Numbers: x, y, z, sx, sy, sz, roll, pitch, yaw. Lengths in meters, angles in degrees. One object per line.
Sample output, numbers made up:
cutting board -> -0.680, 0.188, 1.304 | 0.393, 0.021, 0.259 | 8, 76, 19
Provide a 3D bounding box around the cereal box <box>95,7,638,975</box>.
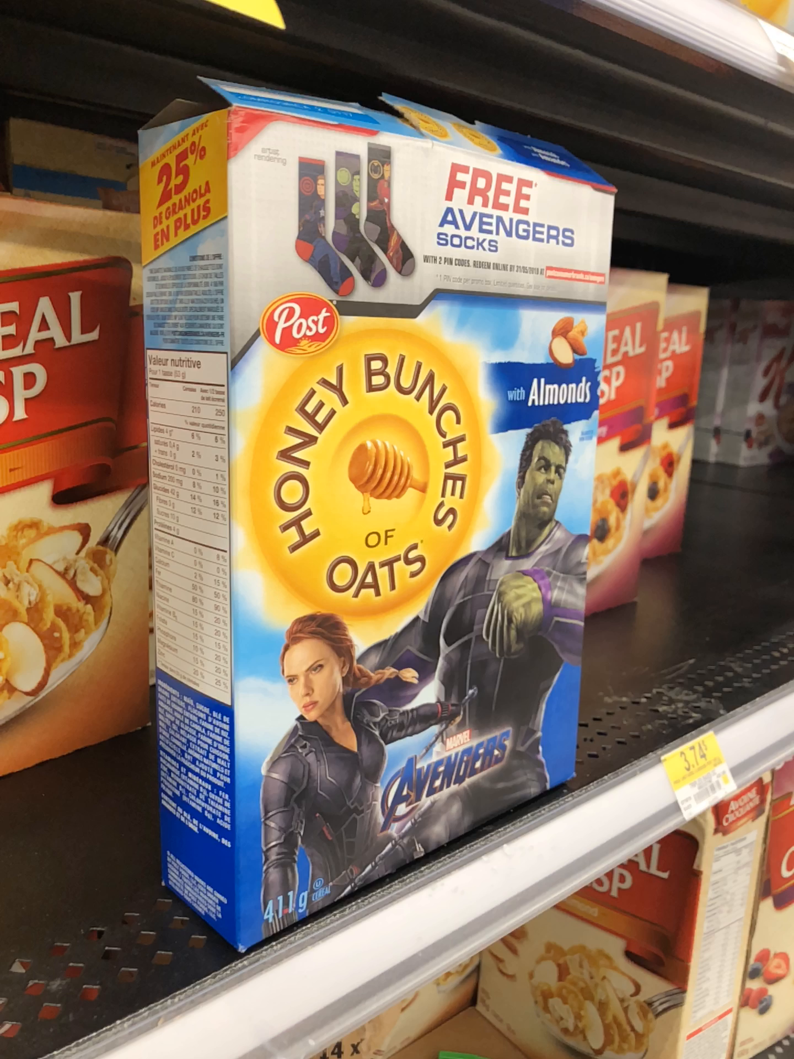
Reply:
cereal box -> -0.006, -0.014, 0.351 | 0.200, 0.289, 0.070 | -9, 17, -42
